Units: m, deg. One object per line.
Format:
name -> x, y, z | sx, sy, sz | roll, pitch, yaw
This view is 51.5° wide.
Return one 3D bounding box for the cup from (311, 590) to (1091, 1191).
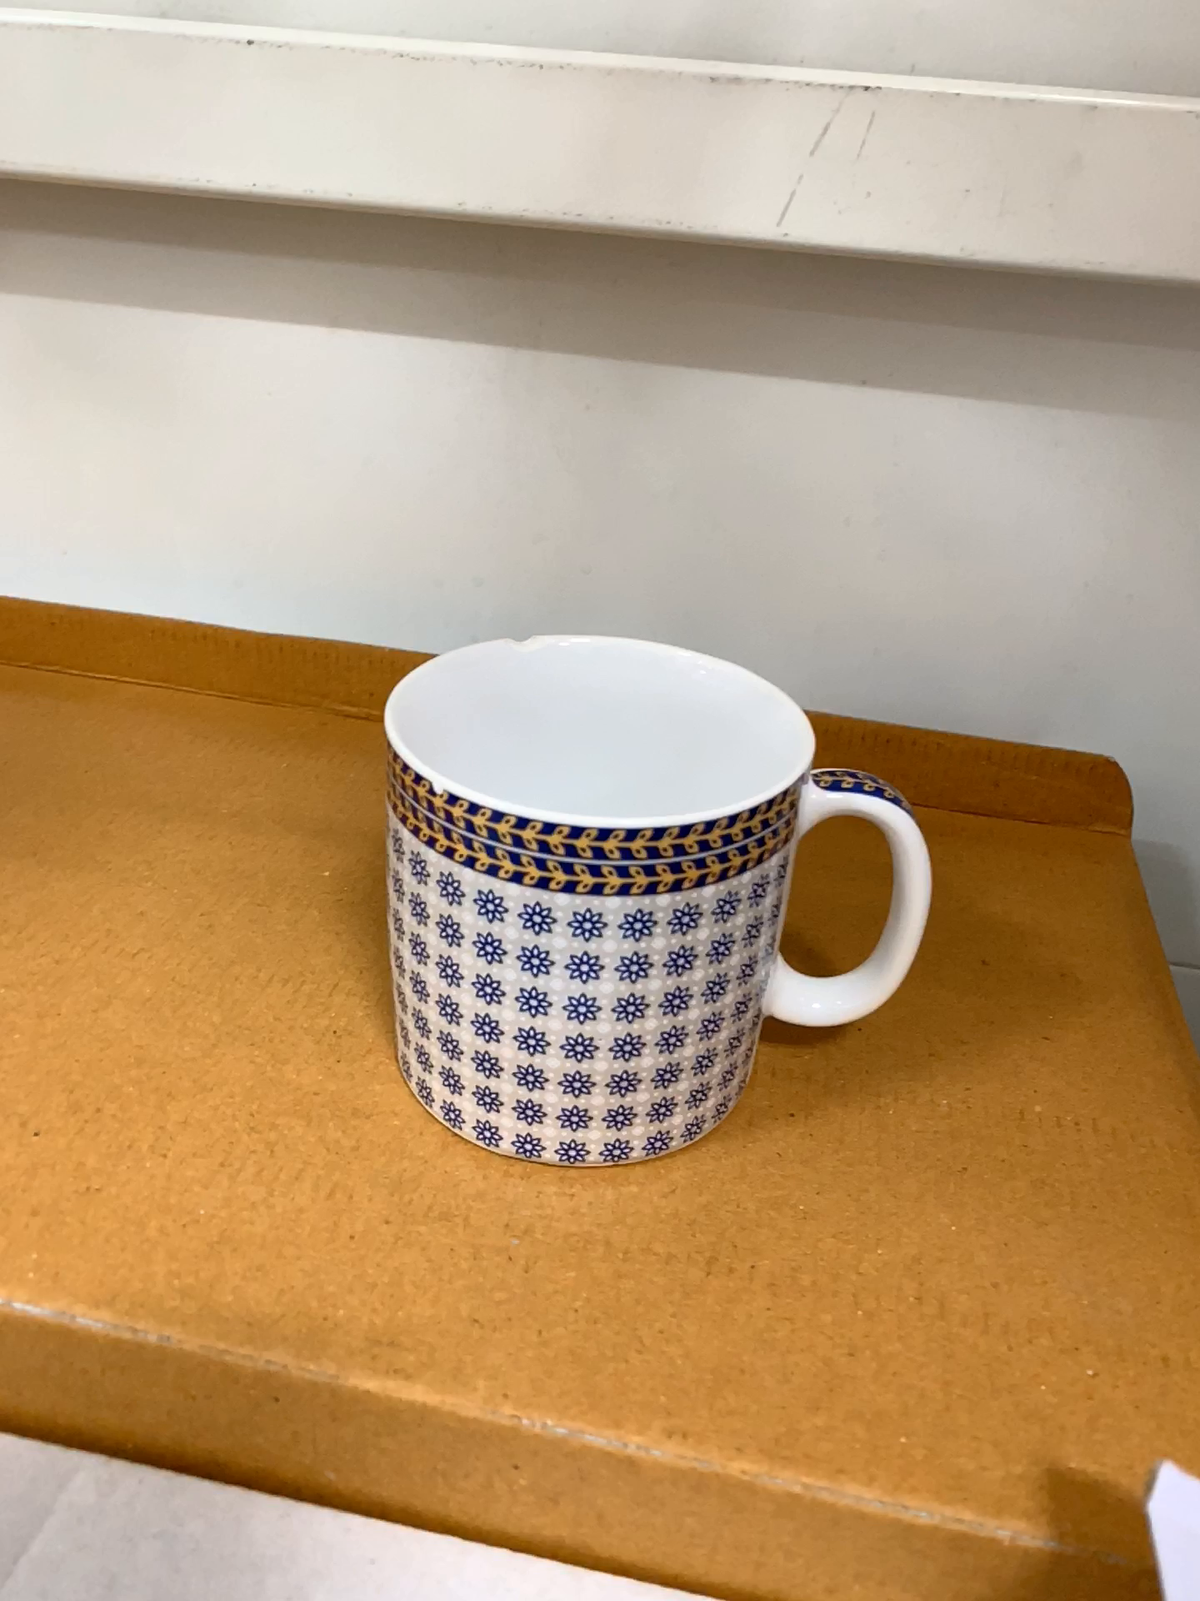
cup -> 0.012, 0.012, 0.226 | 0.110, 0.069, 0.081 | 4, 27, -1
